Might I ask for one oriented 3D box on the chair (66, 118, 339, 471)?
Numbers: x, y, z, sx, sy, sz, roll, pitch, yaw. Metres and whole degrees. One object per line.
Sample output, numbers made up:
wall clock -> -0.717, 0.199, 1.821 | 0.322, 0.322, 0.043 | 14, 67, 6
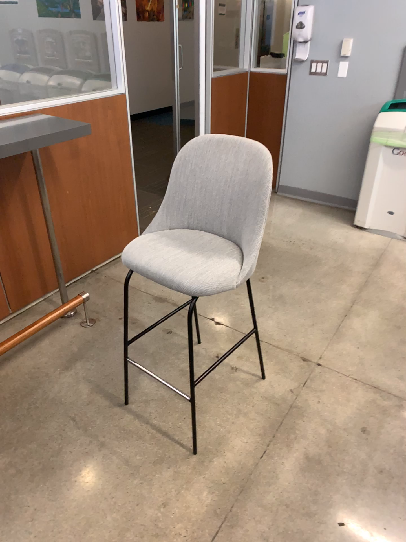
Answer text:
chair -> 0.034, 0.031, 1.728 | 0.592, 1.094, 0.812 | 22, 37, 31
